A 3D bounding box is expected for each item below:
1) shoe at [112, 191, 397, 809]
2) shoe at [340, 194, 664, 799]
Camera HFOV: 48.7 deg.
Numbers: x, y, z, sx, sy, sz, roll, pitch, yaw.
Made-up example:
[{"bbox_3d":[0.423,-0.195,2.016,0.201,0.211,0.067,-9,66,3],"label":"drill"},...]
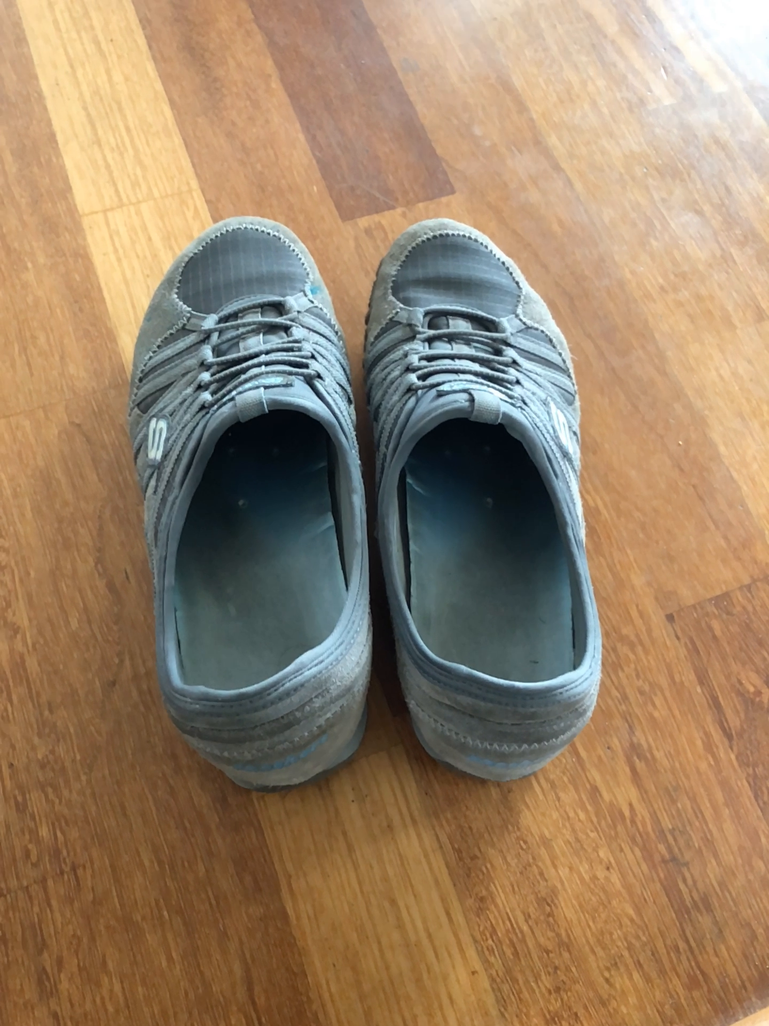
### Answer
[{"bbox_3d":[-0.059,-0.007,0.384,0.096,0.106,0.254,-3,69,-6],"label":"shoe"},{"bbox_3d":[0.036,-0.008,0.387,0.093,0.106,0.250,-3,69,-6],"label":"shoe"}]
